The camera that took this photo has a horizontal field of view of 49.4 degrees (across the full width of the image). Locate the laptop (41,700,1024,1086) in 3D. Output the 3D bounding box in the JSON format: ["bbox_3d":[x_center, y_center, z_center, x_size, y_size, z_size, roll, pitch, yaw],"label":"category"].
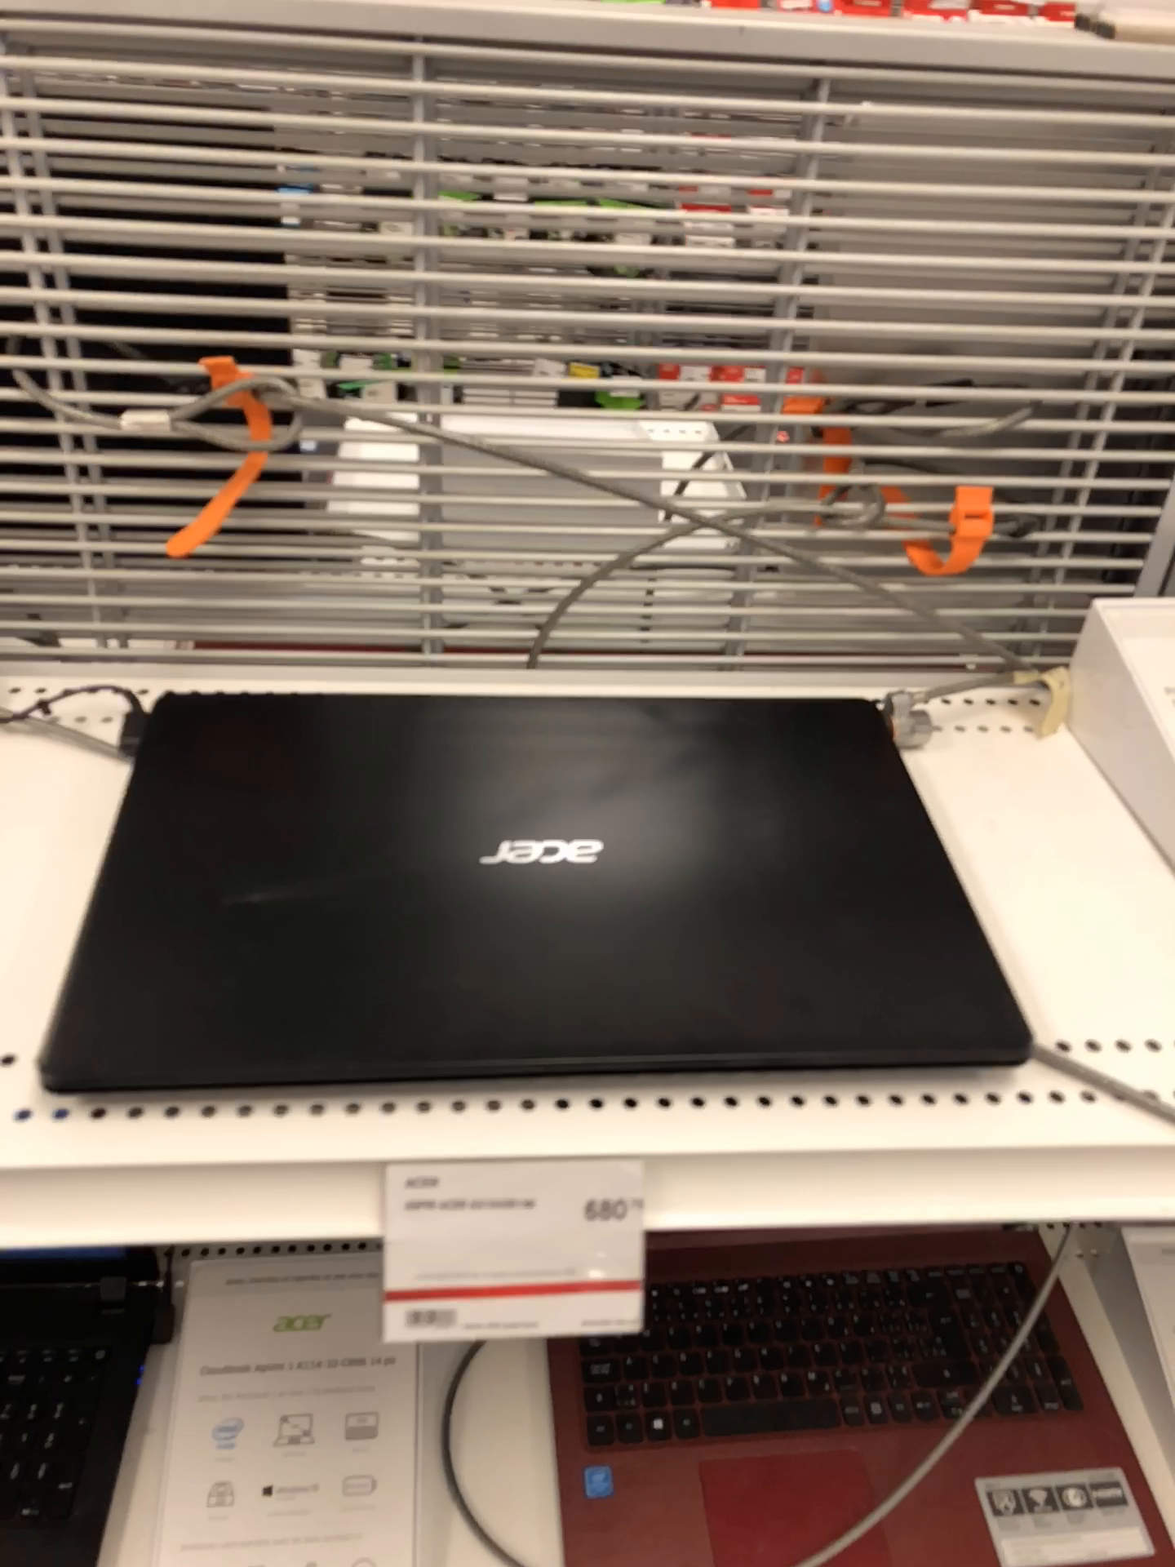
[{"bbox_3d":[-0.021,0.032,0.554,0.354,0.006,0.232,0,37,-7],"label":"laptop"}]
